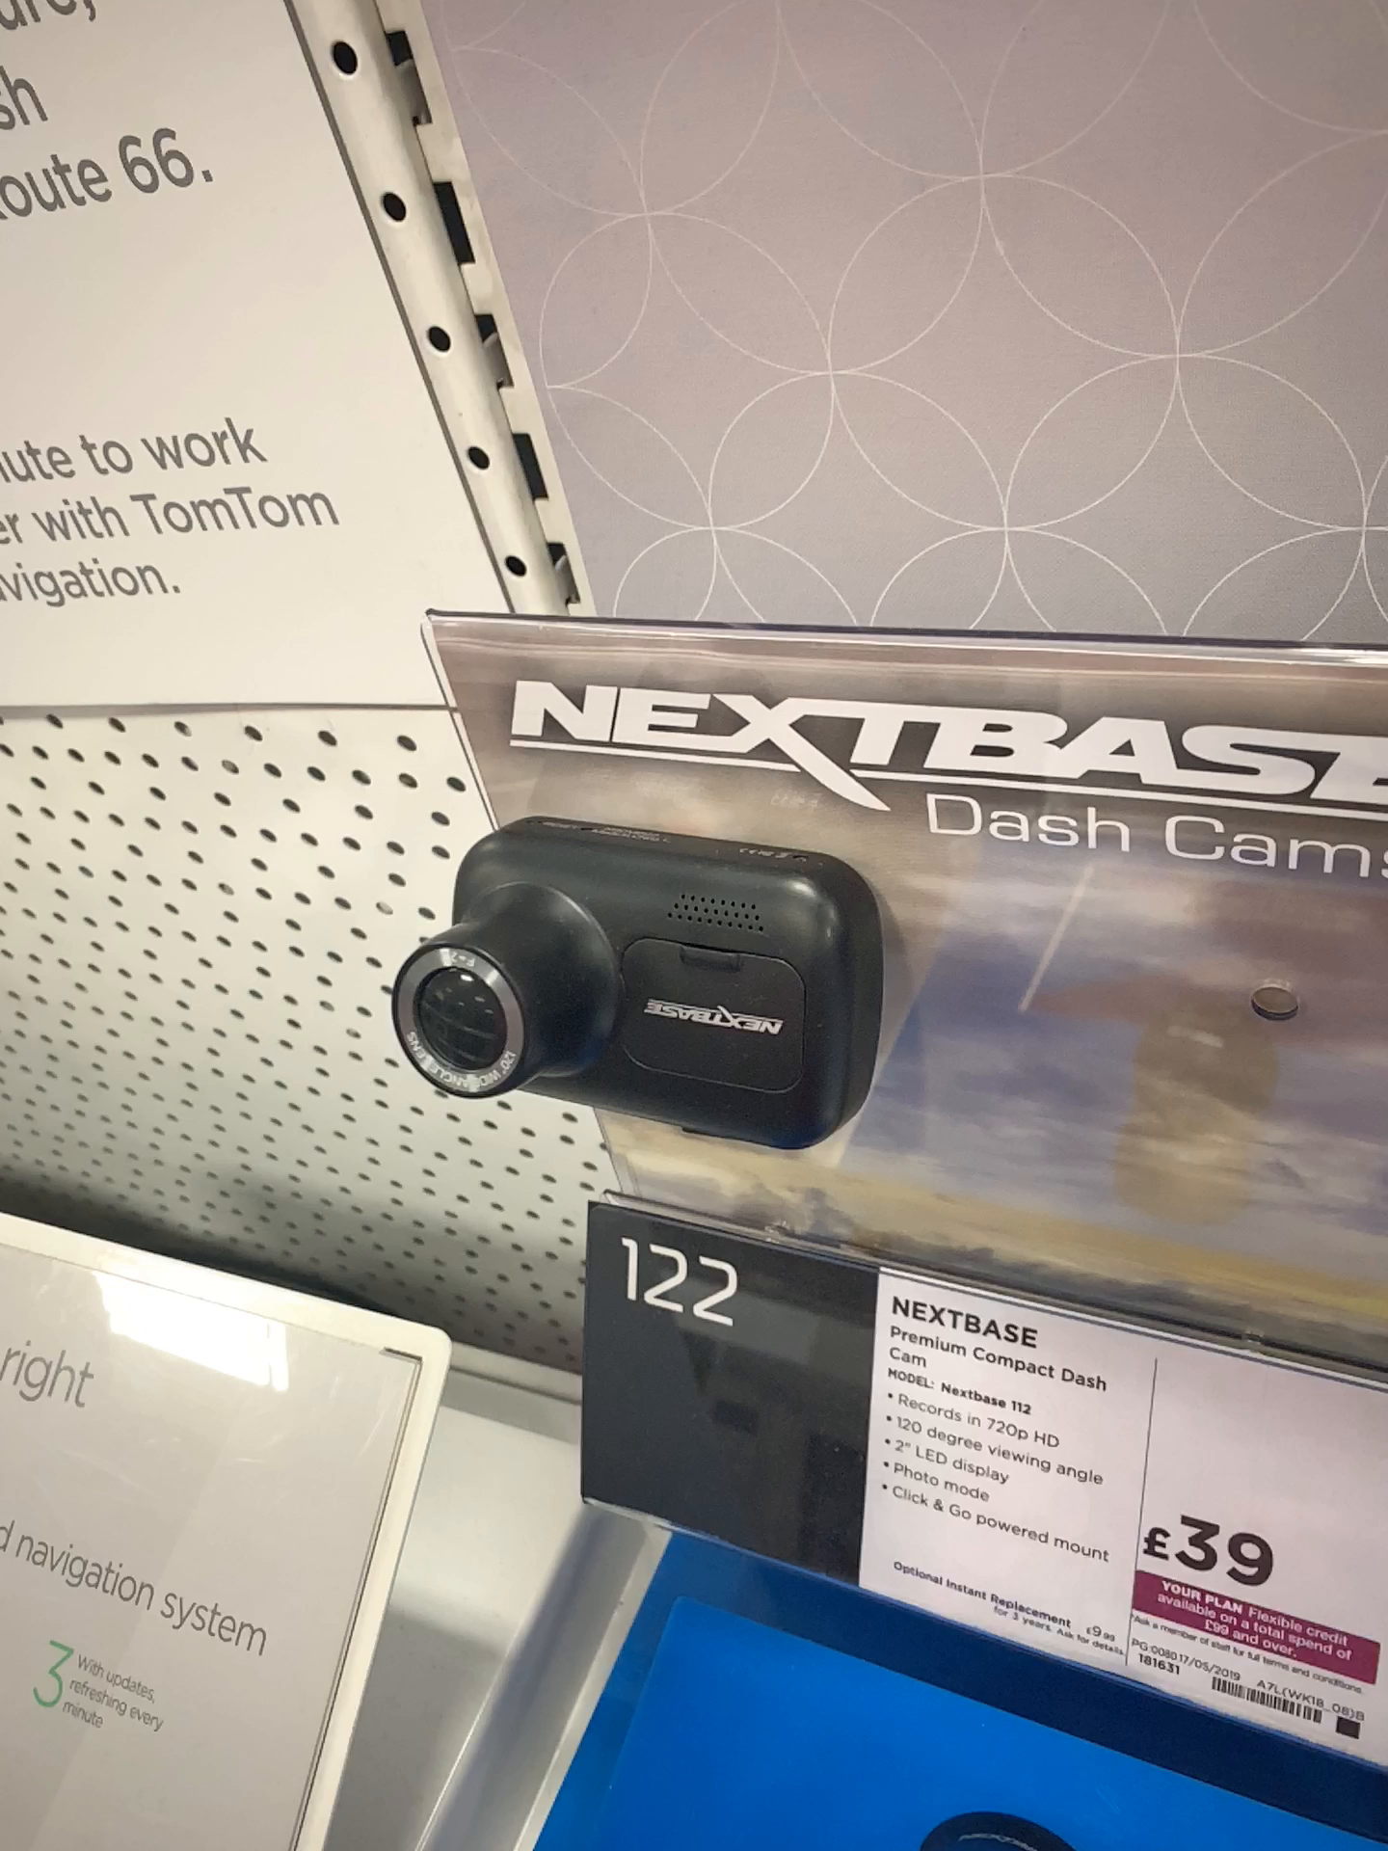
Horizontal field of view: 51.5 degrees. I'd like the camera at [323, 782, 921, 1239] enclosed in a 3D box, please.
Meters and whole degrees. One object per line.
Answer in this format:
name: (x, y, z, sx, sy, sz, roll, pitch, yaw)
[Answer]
camera: (-0.011, 0.009, 0.246, 0.080, 0.050, 0.060, 9, 18, 28)
